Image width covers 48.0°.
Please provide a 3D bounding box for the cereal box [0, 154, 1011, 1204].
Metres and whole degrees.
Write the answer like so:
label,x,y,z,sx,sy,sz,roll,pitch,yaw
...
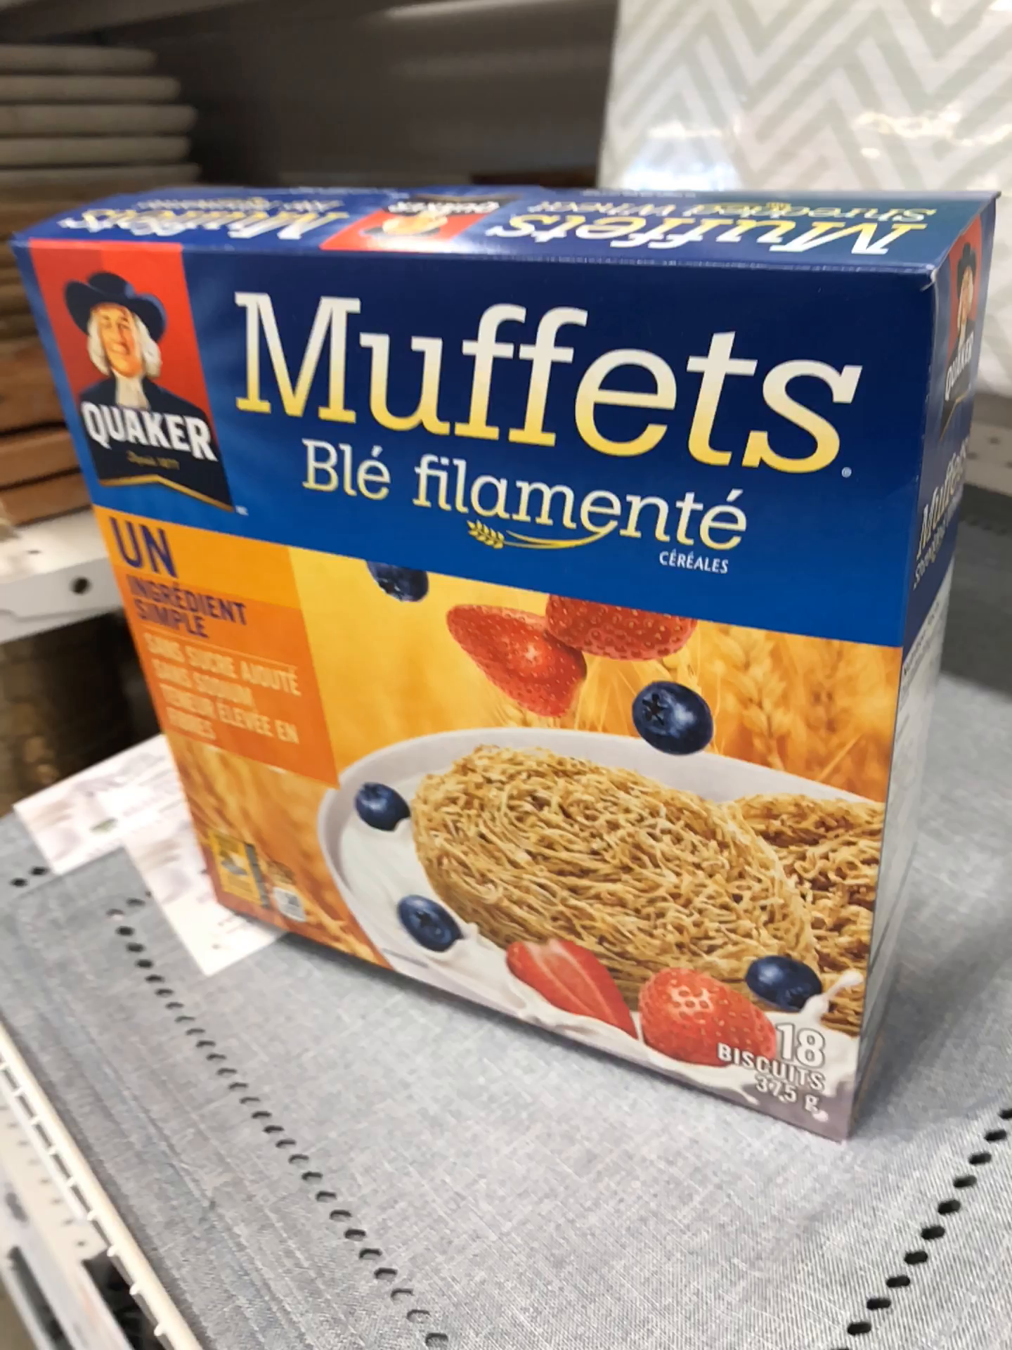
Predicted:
label,x,y,z,sx,sy,sz,roll,pitch,yaw
cereal box,-0.005,-0.007,0.302,0.250,0.229,0.060,13,37,29
